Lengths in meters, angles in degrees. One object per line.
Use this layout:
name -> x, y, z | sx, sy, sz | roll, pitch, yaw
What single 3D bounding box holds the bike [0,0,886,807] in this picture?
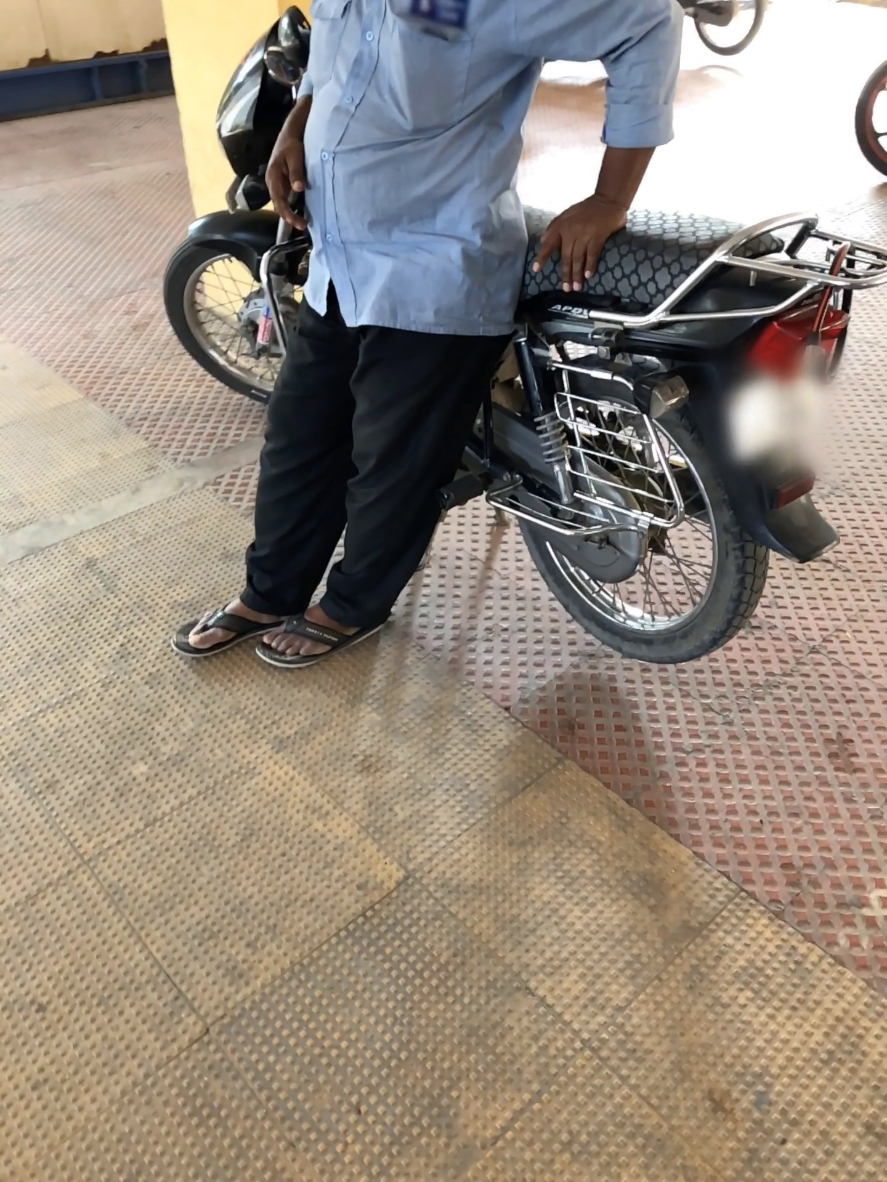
bike -> -0.110, -0.583, 1.879 | 0.681, 1.036, 1.678 | -29, 48, -32
